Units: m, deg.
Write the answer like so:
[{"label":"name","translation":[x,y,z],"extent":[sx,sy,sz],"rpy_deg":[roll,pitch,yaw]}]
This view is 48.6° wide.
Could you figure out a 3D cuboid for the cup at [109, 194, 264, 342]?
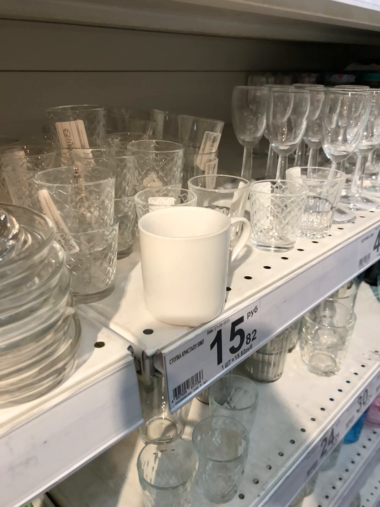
[{"label":"cup","translation":[-0.002,0.004,0.267],"extent":[0.074,0.060,0.057],"rpy_deg":[-19,31,-37]}]
